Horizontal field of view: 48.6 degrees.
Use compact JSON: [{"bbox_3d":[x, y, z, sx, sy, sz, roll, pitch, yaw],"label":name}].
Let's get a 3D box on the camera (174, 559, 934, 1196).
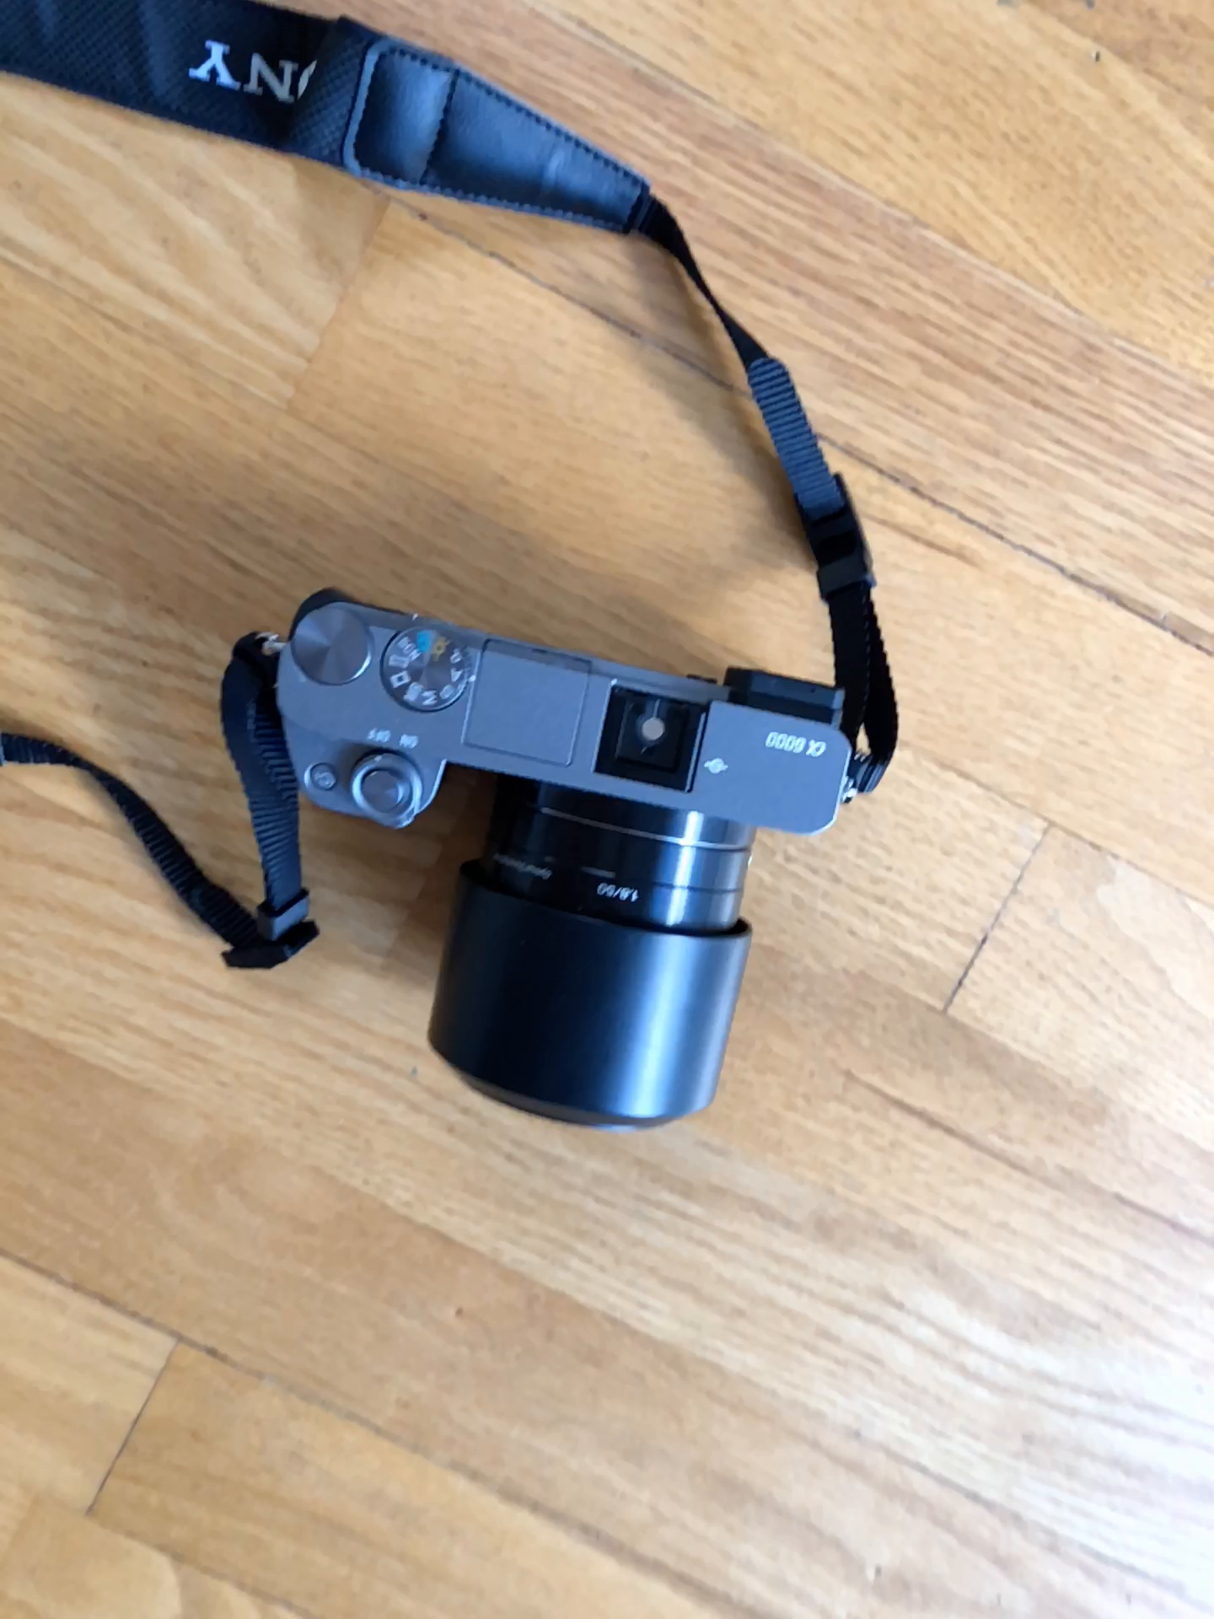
[{"bbox_3d":[-0.013,0.013,0.310,0.140,0.060,0.110,11,96,-3],"label":"camera"}]
